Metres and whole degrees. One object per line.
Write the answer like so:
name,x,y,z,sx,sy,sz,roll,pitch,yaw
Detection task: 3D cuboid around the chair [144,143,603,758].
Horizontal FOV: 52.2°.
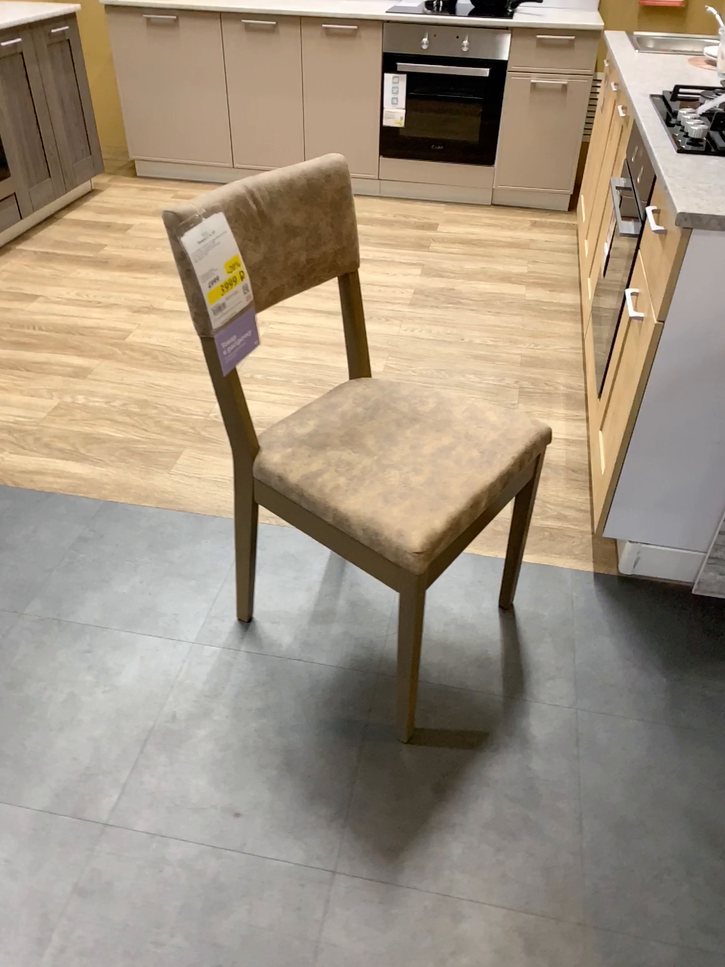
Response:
chair,0.017,-0.060,1.396,0.511,0.924,0.482,25,43,27
